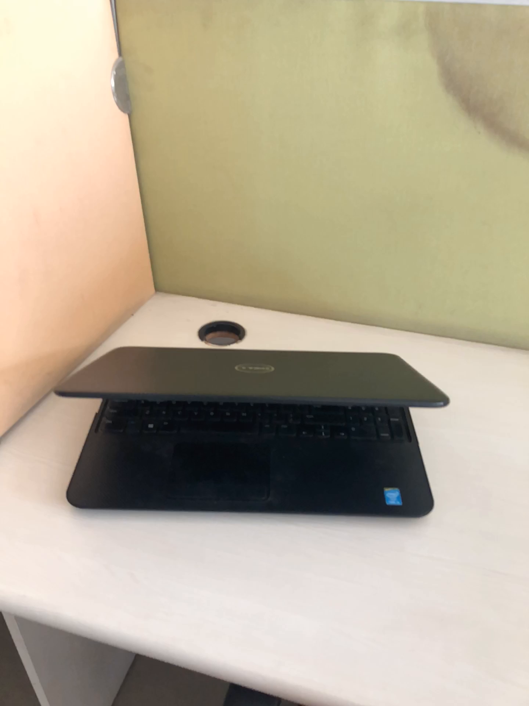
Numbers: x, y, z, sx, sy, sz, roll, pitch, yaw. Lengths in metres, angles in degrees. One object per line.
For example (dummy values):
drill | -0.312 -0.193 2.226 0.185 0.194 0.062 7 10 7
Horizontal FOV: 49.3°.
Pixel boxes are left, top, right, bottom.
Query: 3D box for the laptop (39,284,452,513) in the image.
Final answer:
laptop | -0.015 0.036 0.640 0.366 0.106 0.249 1 36 1
